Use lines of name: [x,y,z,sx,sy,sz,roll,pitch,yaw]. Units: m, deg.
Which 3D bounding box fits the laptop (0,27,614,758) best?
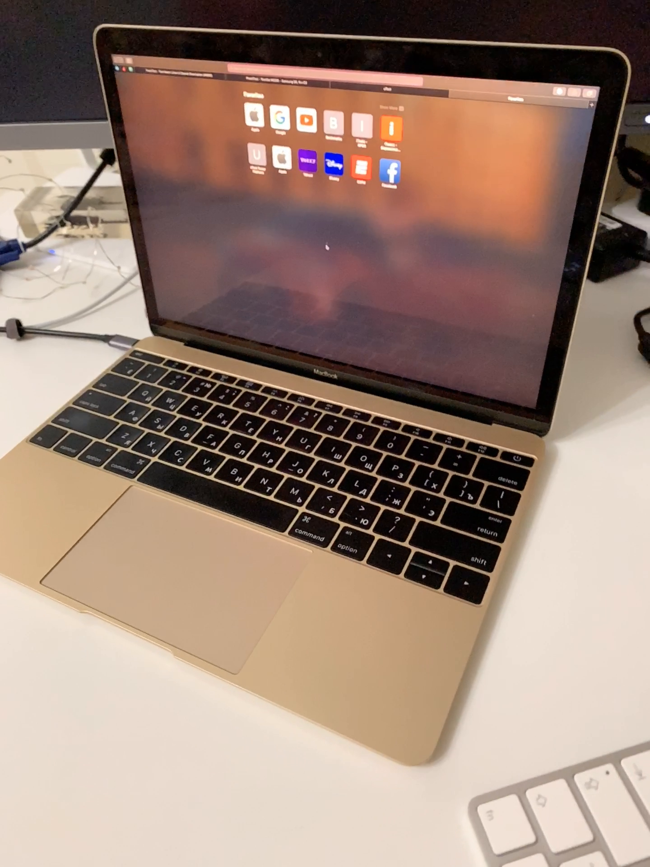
laptop: [-0.041,-0.049,0.282,0.247,0.168,0.198,16,45,22]
